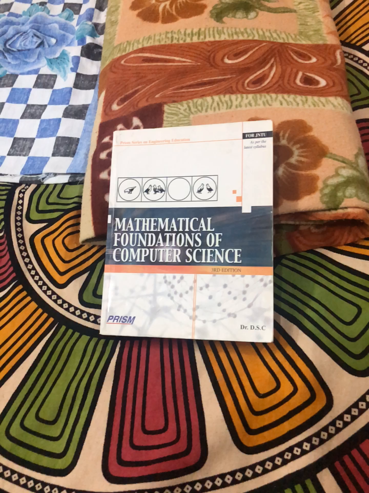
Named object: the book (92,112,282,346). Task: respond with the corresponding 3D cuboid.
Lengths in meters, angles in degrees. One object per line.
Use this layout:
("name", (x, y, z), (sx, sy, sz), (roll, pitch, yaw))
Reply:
("book", (0.008, -0.017, 0.453), (0.190, 0.060, 0.240), (-1, 76, 13))
